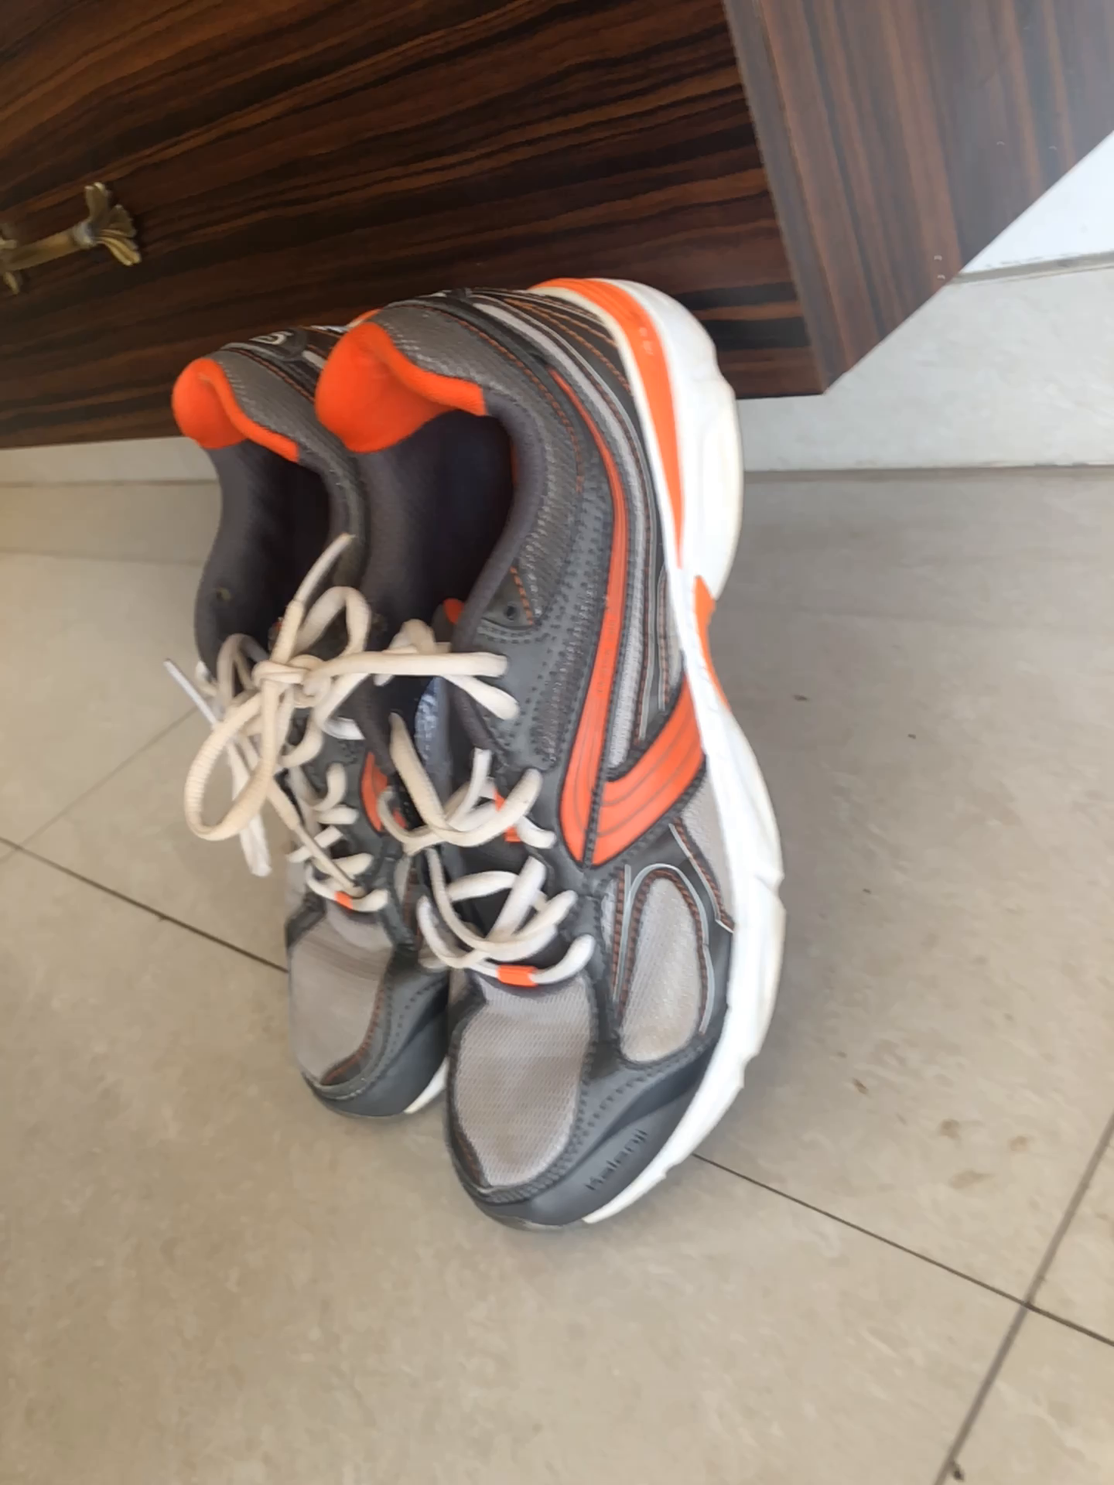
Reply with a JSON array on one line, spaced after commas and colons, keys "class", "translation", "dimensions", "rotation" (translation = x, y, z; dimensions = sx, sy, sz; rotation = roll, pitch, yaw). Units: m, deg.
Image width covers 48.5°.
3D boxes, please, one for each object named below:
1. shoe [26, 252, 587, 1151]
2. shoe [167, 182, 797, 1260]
[{"class": "shoe", "translation": [-0.081, -0.018, 0.435], "dimensions": [0.120, 0.269, 0.100], "rotation": [4, 17, 38]}, {"class": "shoe", "translation": [-0.018, -0.011, 0.372], "dimensions": [0.110, 0.259, 0.120], "rotation": [-16, 15, -42]}]
